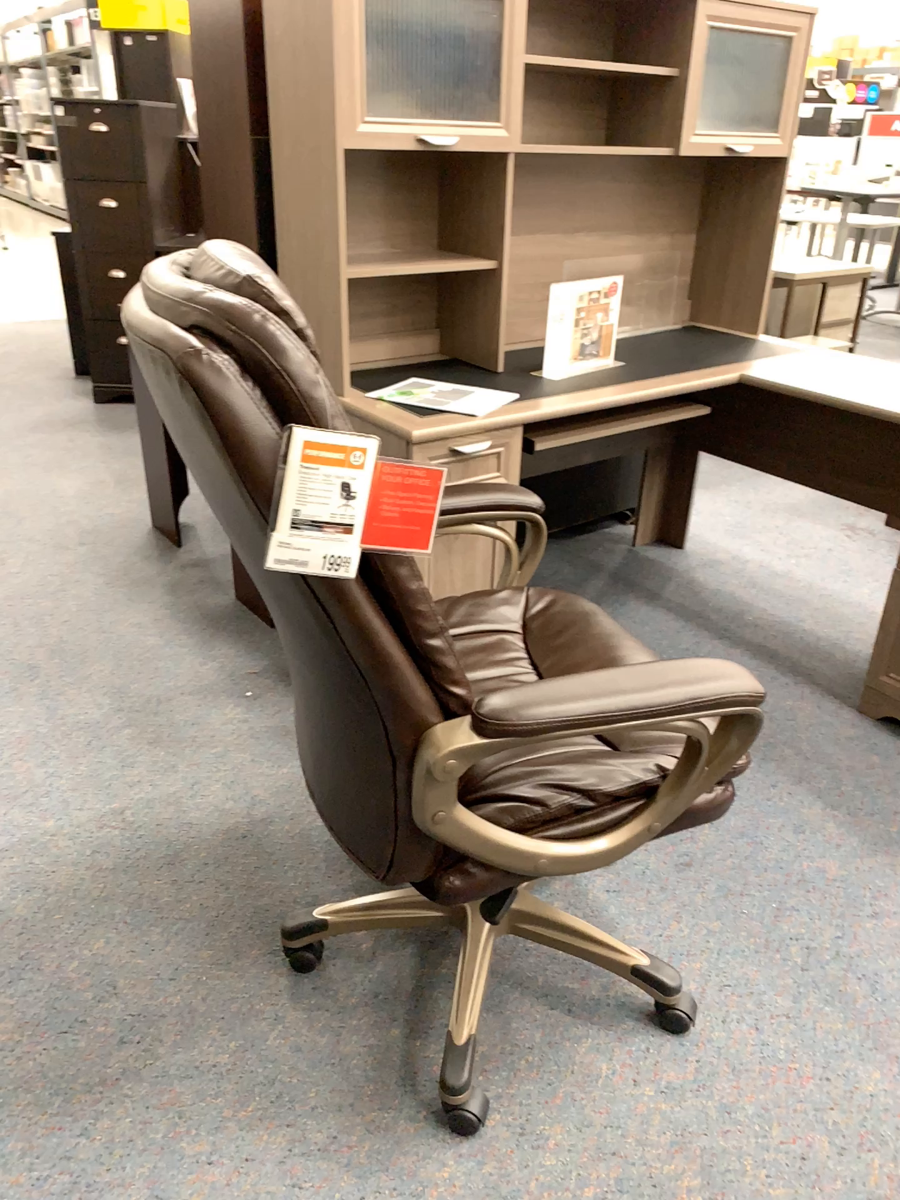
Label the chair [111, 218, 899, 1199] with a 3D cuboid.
[{"bbox_3d":[0.024,0.082,1.326,0.811,1.113,0.727,-7,28,-16],"label":"chair"}]
